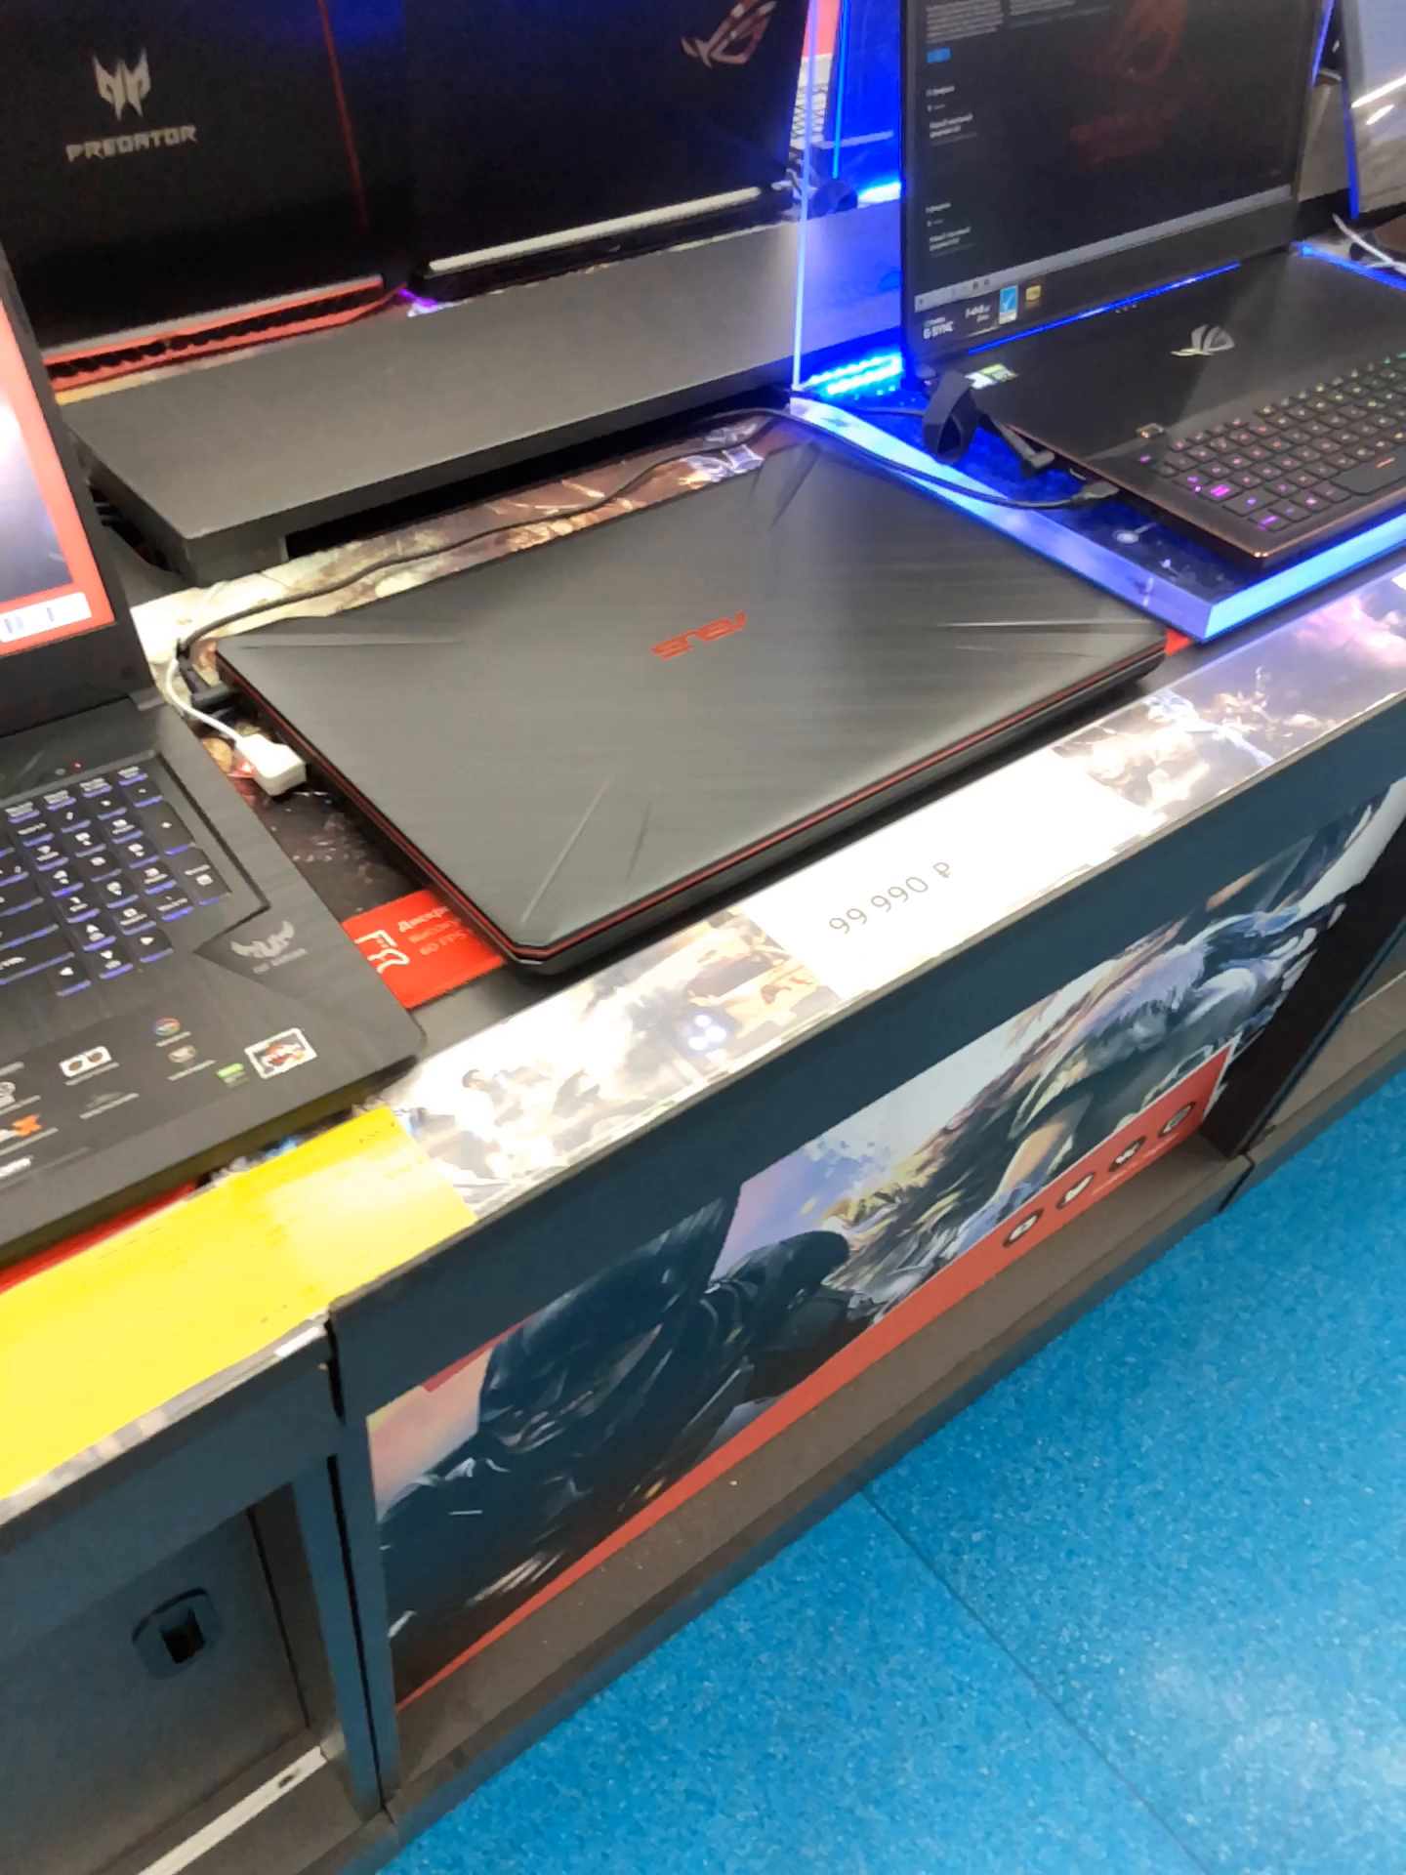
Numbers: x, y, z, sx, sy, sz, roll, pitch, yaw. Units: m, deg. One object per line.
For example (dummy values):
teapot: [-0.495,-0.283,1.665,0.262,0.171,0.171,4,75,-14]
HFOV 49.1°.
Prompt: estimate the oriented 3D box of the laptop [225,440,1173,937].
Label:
laptop: [0.002,-0.148,0.758,0.389,0.002,0.253,-27,49,-27]
